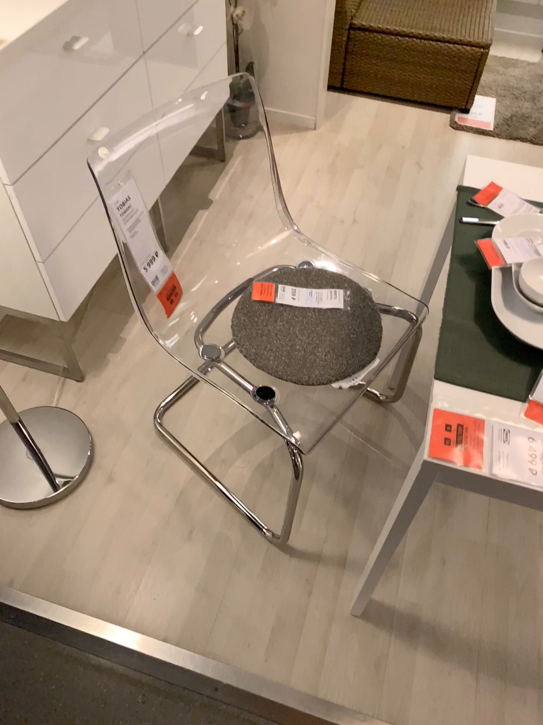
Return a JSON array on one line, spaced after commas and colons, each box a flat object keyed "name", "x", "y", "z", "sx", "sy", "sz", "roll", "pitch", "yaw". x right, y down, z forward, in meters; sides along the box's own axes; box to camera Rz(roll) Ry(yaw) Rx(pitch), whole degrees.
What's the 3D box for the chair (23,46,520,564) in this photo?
[{"name": "chair", "x": 0.004, "y": -0.101, "z": 1.239, "sx": 0.592, "sy": 0.792, "sz": 0.592, "roll": 34, "pitch": 58, "yaw": 21}]
